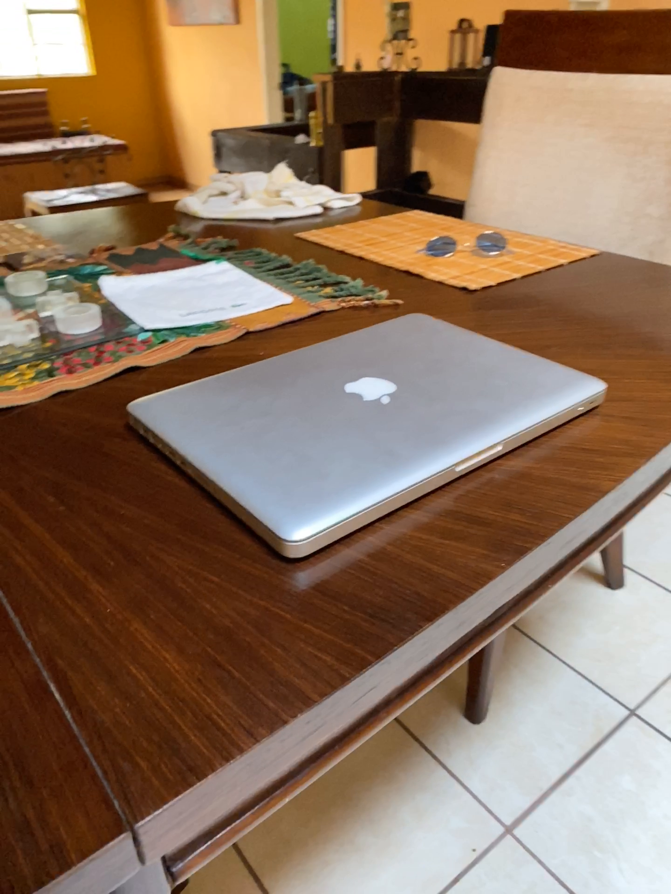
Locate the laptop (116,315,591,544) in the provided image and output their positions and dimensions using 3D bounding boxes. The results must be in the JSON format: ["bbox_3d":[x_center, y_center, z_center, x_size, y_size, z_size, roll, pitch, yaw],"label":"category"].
[{"bbox_3d":[0.019,-0.042,0.574,0.324,0.002,0.232,-23,37,-33],"label":"laptop"}]
